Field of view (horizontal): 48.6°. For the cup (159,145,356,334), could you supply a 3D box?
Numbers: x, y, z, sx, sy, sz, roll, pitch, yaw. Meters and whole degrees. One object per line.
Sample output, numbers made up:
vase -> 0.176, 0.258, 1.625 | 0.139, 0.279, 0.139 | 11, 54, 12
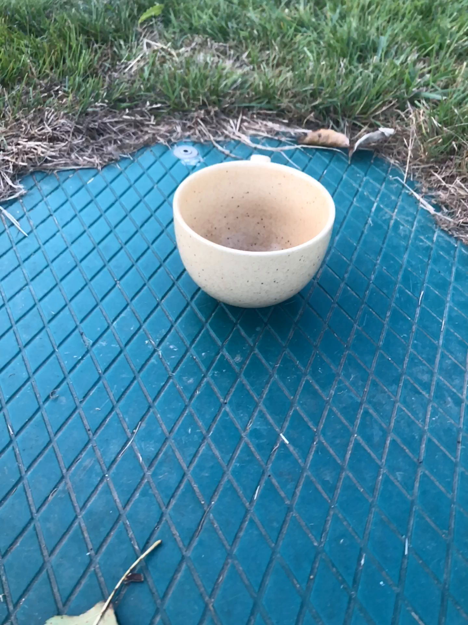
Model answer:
cup -> 0.018, -0.062, 0.399 | 0.124, 0.065, 0.143 | 5, 42, 1
